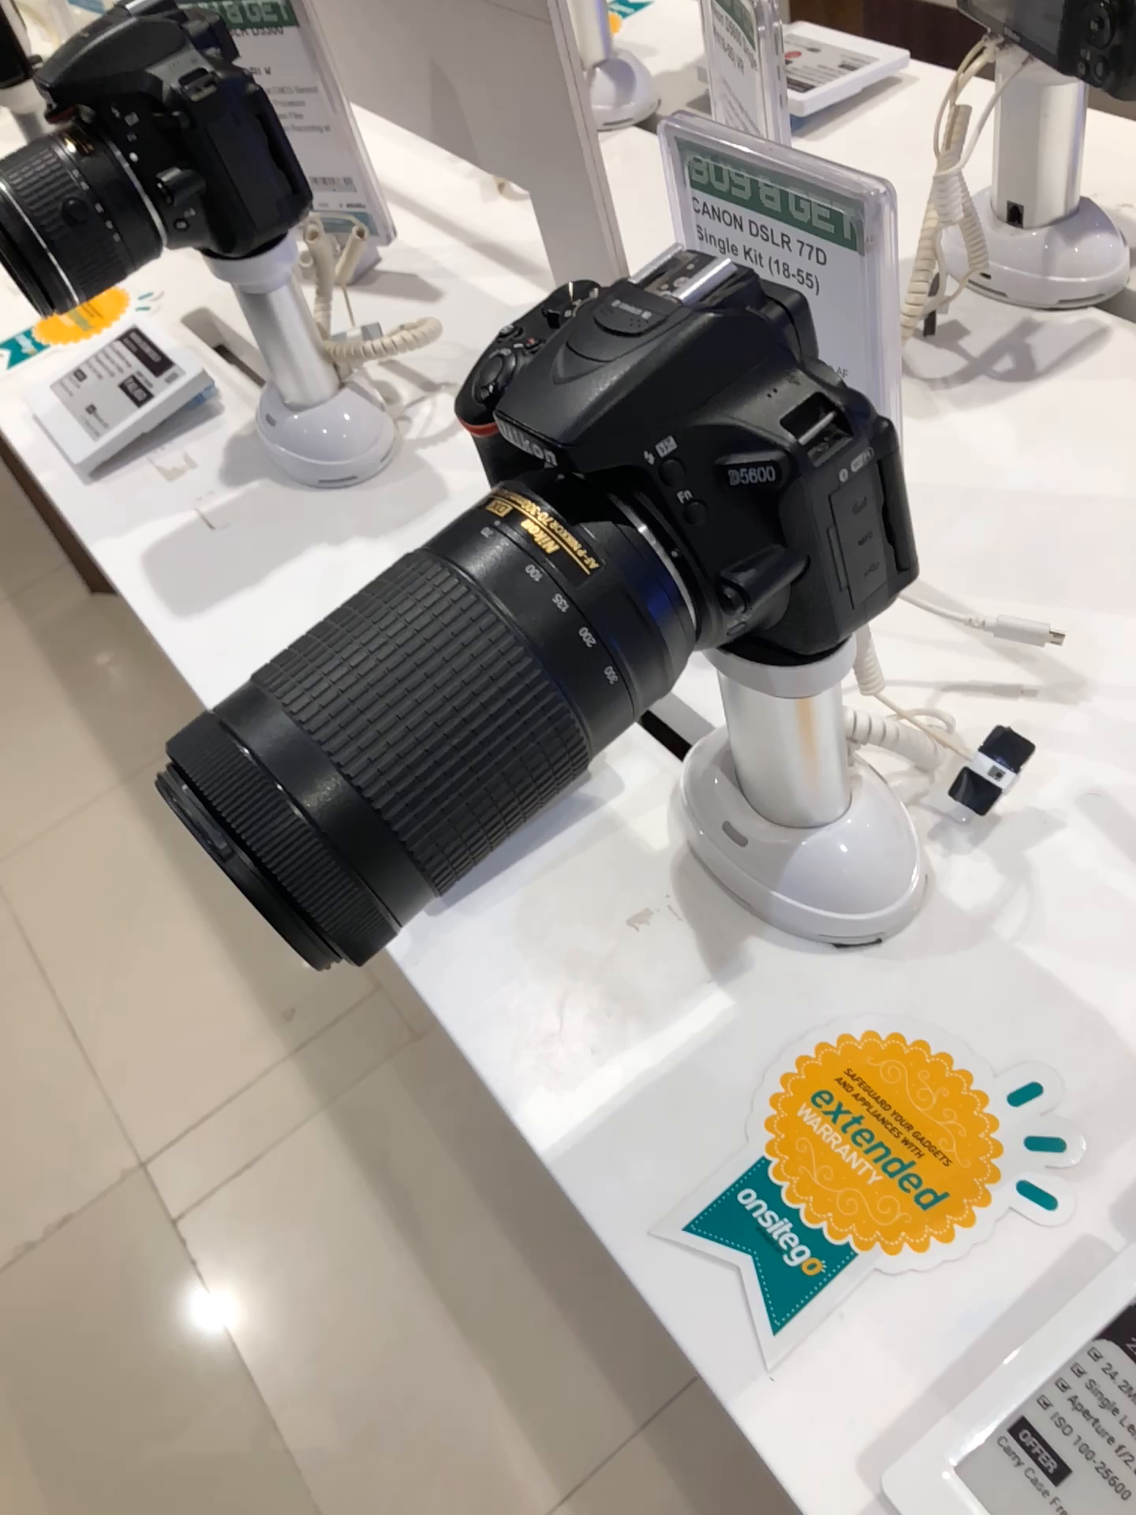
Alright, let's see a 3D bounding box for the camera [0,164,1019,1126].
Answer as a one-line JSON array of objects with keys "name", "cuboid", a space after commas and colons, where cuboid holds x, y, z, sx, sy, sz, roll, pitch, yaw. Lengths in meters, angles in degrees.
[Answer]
[{"name": "camera", "cuboid": [-0.016, -0.042, 0.311, 0.200, 0.089, 0.141, -36, 50, -15]}]
